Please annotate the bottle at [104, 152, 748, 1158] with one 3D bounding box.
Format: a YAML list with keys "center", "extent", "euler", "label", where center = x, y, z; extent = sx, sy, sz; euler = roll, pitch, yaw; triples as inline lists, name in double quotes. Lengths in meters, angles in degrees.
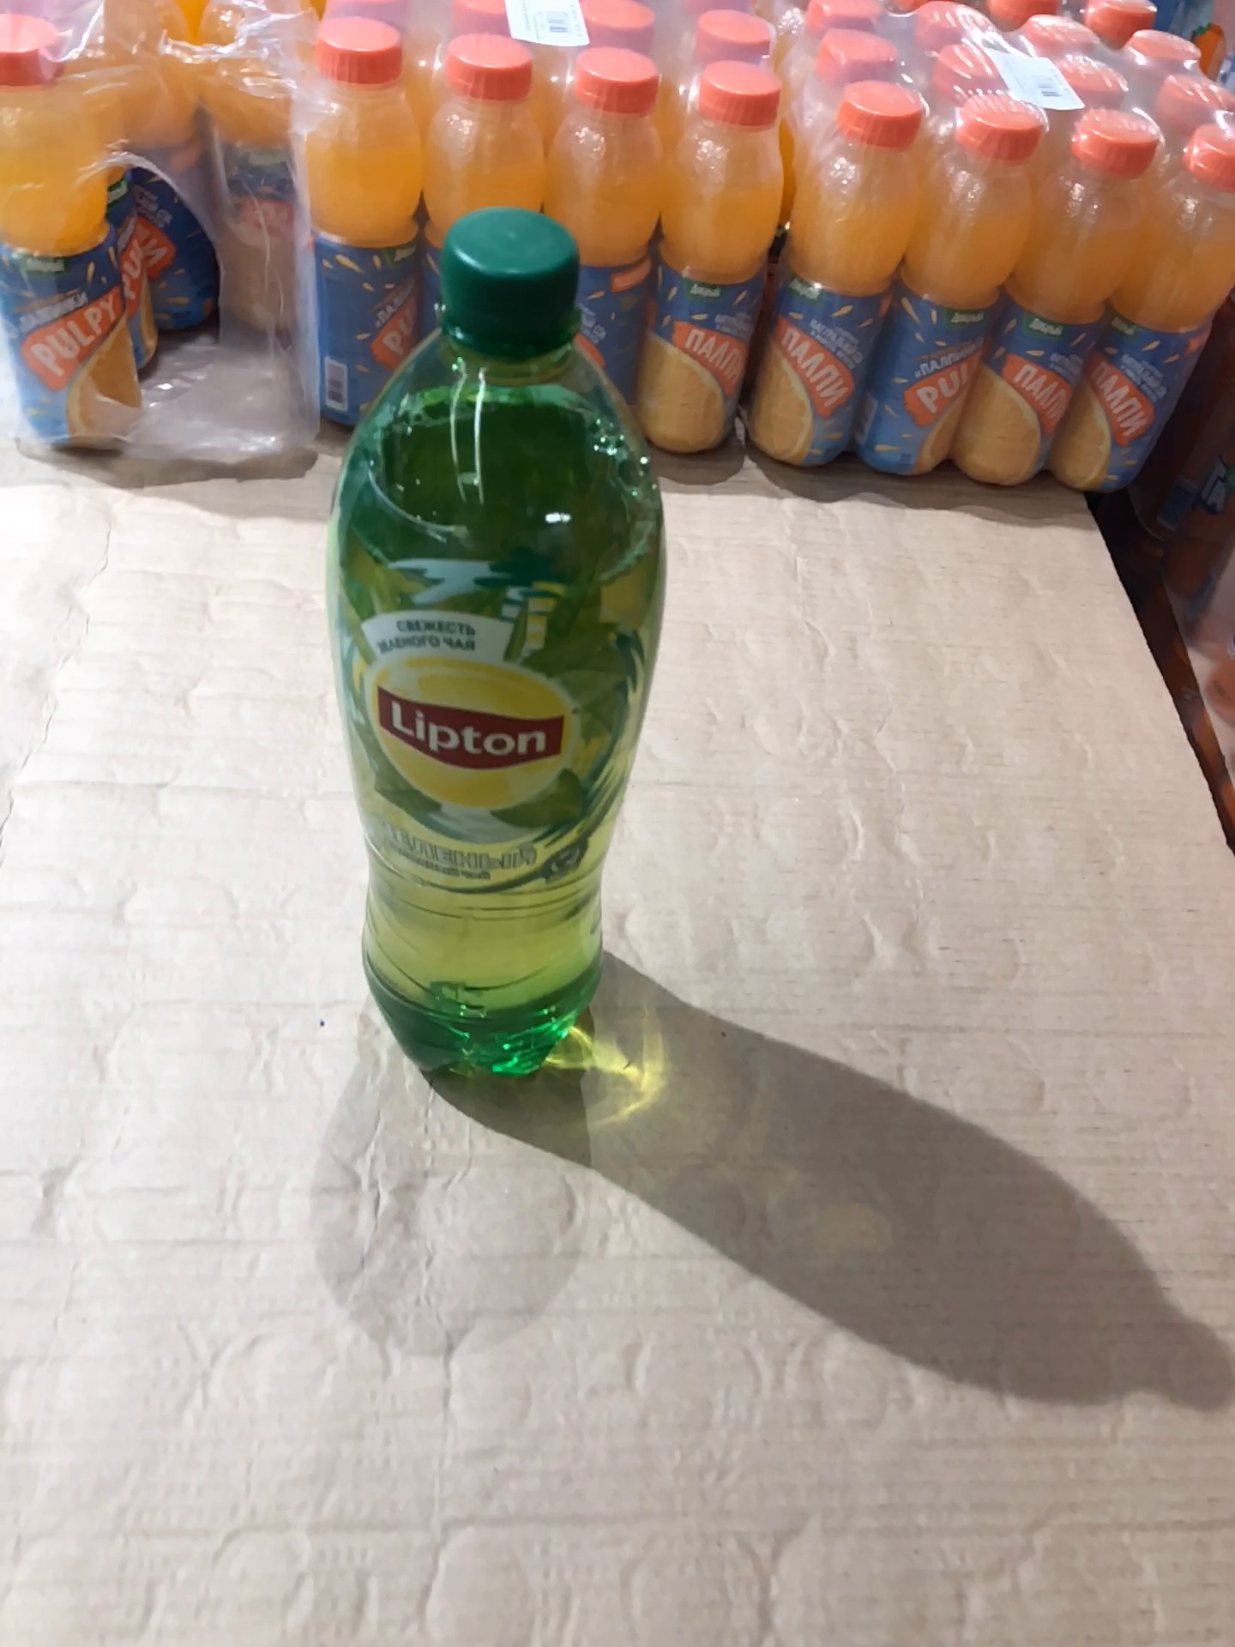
- center: [-0.051, -0.021, 0.404]
  extent: [0.120, 0.288, 0.121]
  euler: [4, 51, -5]
  label: "bottle"
